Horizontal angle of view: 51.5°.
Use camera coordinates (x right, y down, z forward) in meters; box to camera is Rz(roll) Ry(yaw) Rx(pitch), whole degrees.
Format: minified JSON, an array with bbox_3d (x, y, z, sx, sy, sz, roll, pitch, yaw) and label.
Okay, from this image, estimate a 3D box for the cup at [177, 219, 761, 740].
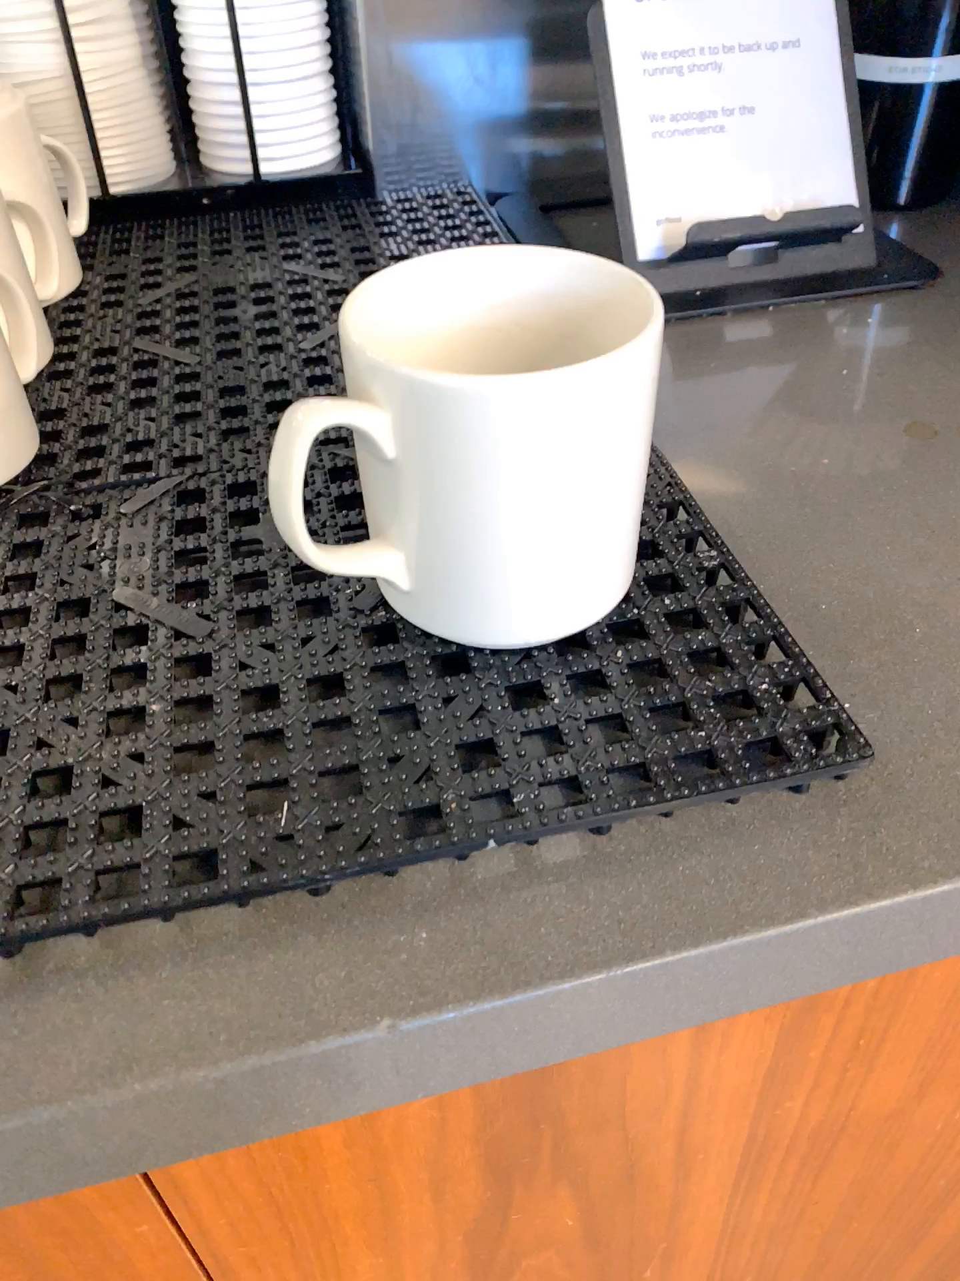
[{"bbox_3d":[-0.002,-0.053,0.281,0.120,0.080,0.090,-27,47,-25],"label":"cup"}]
